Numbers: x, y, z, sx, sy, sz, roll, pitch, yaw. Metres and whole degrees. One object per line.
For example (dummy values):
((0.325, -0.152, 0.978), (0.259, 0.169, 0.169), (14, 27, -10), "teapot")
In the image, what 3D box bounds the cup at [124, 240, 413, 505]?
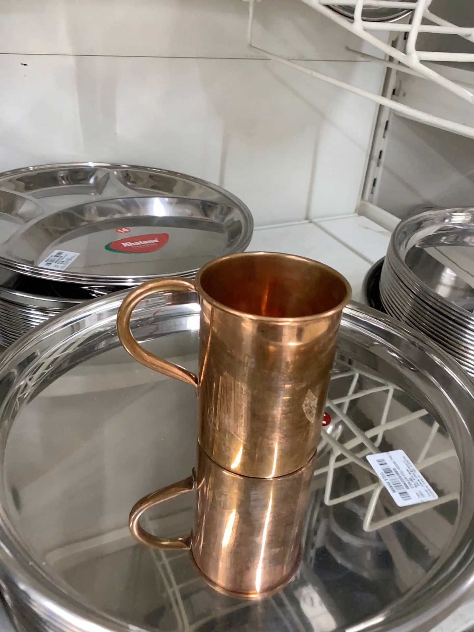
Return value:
((0.007, 0.029, 0.279), (0.130, 0.119, 0.080), (-2, 33, -10), "cup")
